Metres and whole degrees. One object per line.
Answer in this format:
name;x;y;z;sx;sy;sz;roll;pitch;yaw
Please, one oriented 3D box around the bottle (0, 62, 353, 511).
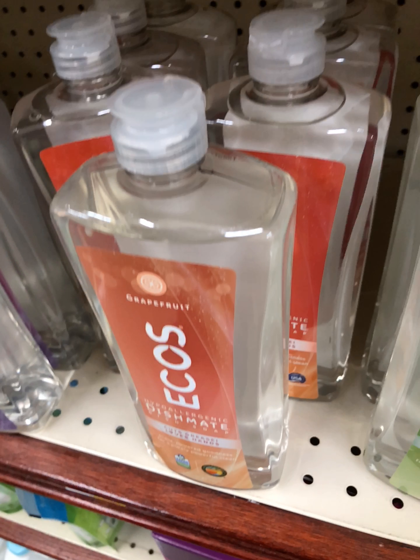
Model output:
bottle;0.001;0.026;0.209;0.092;0.219;0.050;9;48;16
